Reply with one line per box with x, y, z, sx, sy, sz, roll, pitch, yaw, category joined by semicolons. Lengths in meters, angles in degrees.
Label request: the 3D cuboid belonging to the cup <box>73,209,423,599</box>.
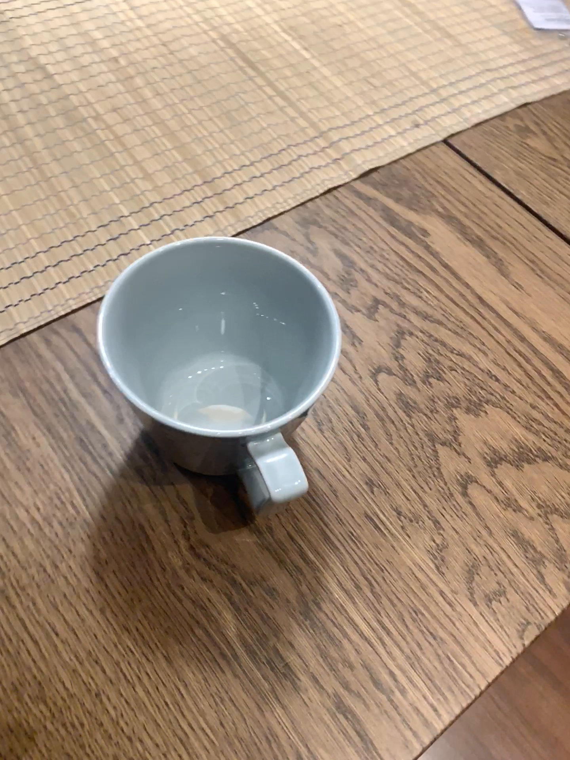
-0.026;0.010;0.293;0.110;0.100;0.140;-15;61;-15;cup
